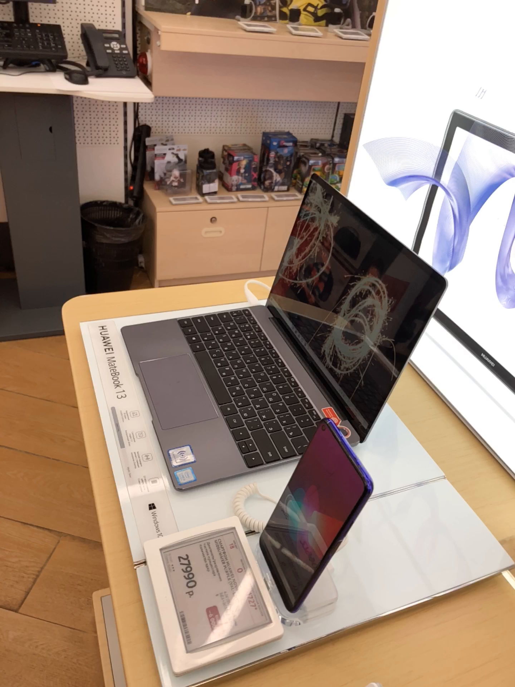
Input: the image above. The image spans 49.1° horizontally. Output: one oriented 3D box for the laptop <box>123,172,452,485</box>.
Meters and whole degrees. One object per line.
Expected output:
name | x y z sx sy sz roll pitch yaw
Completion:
laptop | 0.003 -0.040 0.636 0.244 0.192 0.275 -10 39 -20
